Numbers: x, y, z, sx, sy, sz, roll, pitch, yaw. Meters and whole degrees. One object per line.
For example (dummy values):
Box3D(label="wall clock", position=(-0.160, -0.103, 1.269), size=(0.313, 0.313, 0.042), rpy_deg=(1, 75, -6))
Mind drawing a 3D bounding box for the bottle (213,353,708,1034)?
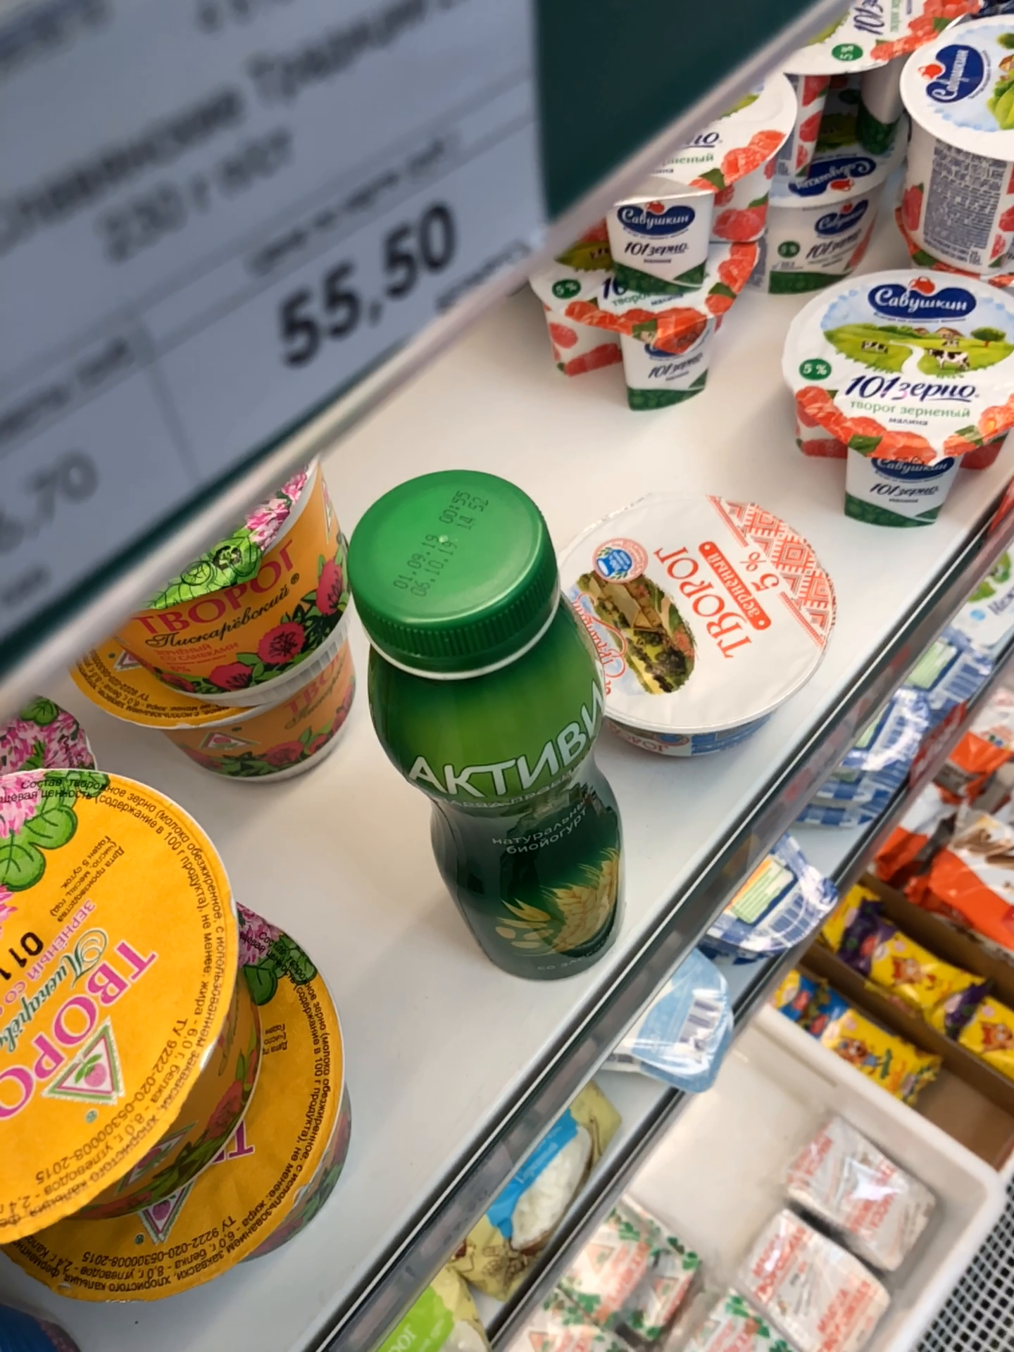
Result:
Box3D(label="bottle", position=(0.000, 0.021, 0.283), size=(0.070, 0.184, 0.060), rpy_deg=(-32, 60, -12))
